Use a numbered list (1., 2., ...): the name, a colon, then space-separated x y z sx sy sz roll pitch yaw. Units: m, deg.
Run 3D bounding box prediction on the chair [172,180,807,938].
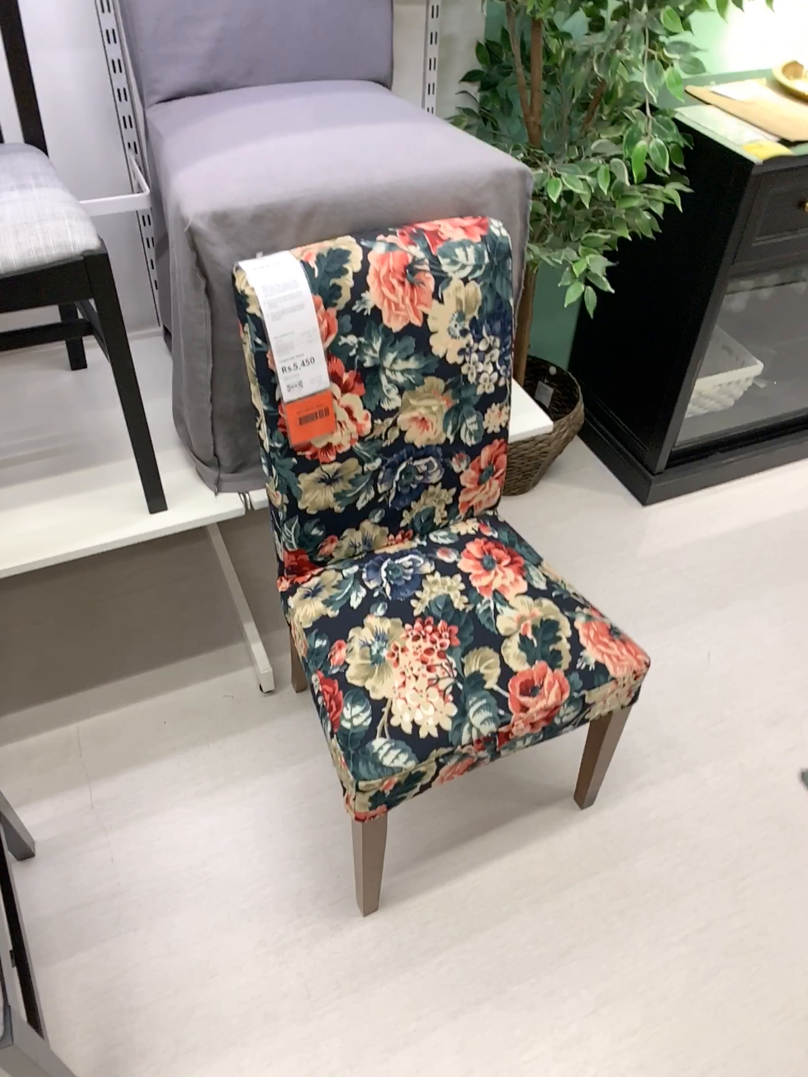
1. chair: 0.063 0.047 1.256 0.560 0.887 0.602 -16 48 -18
